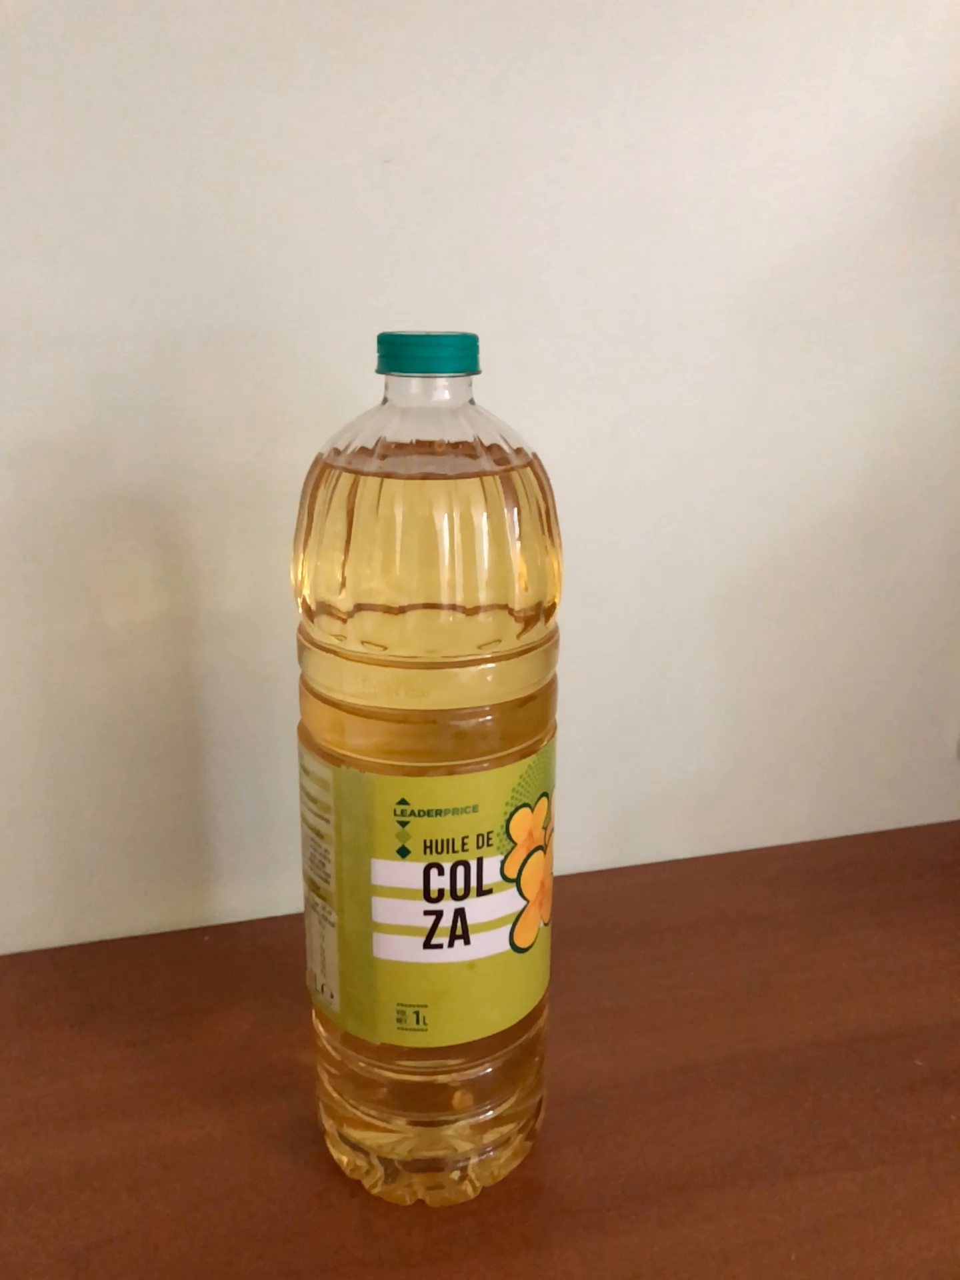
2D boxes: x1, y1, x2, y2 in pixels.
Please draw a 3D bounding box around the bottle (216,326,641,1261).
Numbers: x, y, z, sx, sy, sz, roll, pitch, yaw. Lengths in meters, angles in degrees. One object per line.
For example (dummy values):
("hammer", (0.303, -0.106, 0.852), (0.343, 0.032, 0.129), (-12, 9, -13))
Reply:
("bottle", (-0.020, 0.043, 0.339), (0.090, 0.269, 0.090), (1, 18, 0))
